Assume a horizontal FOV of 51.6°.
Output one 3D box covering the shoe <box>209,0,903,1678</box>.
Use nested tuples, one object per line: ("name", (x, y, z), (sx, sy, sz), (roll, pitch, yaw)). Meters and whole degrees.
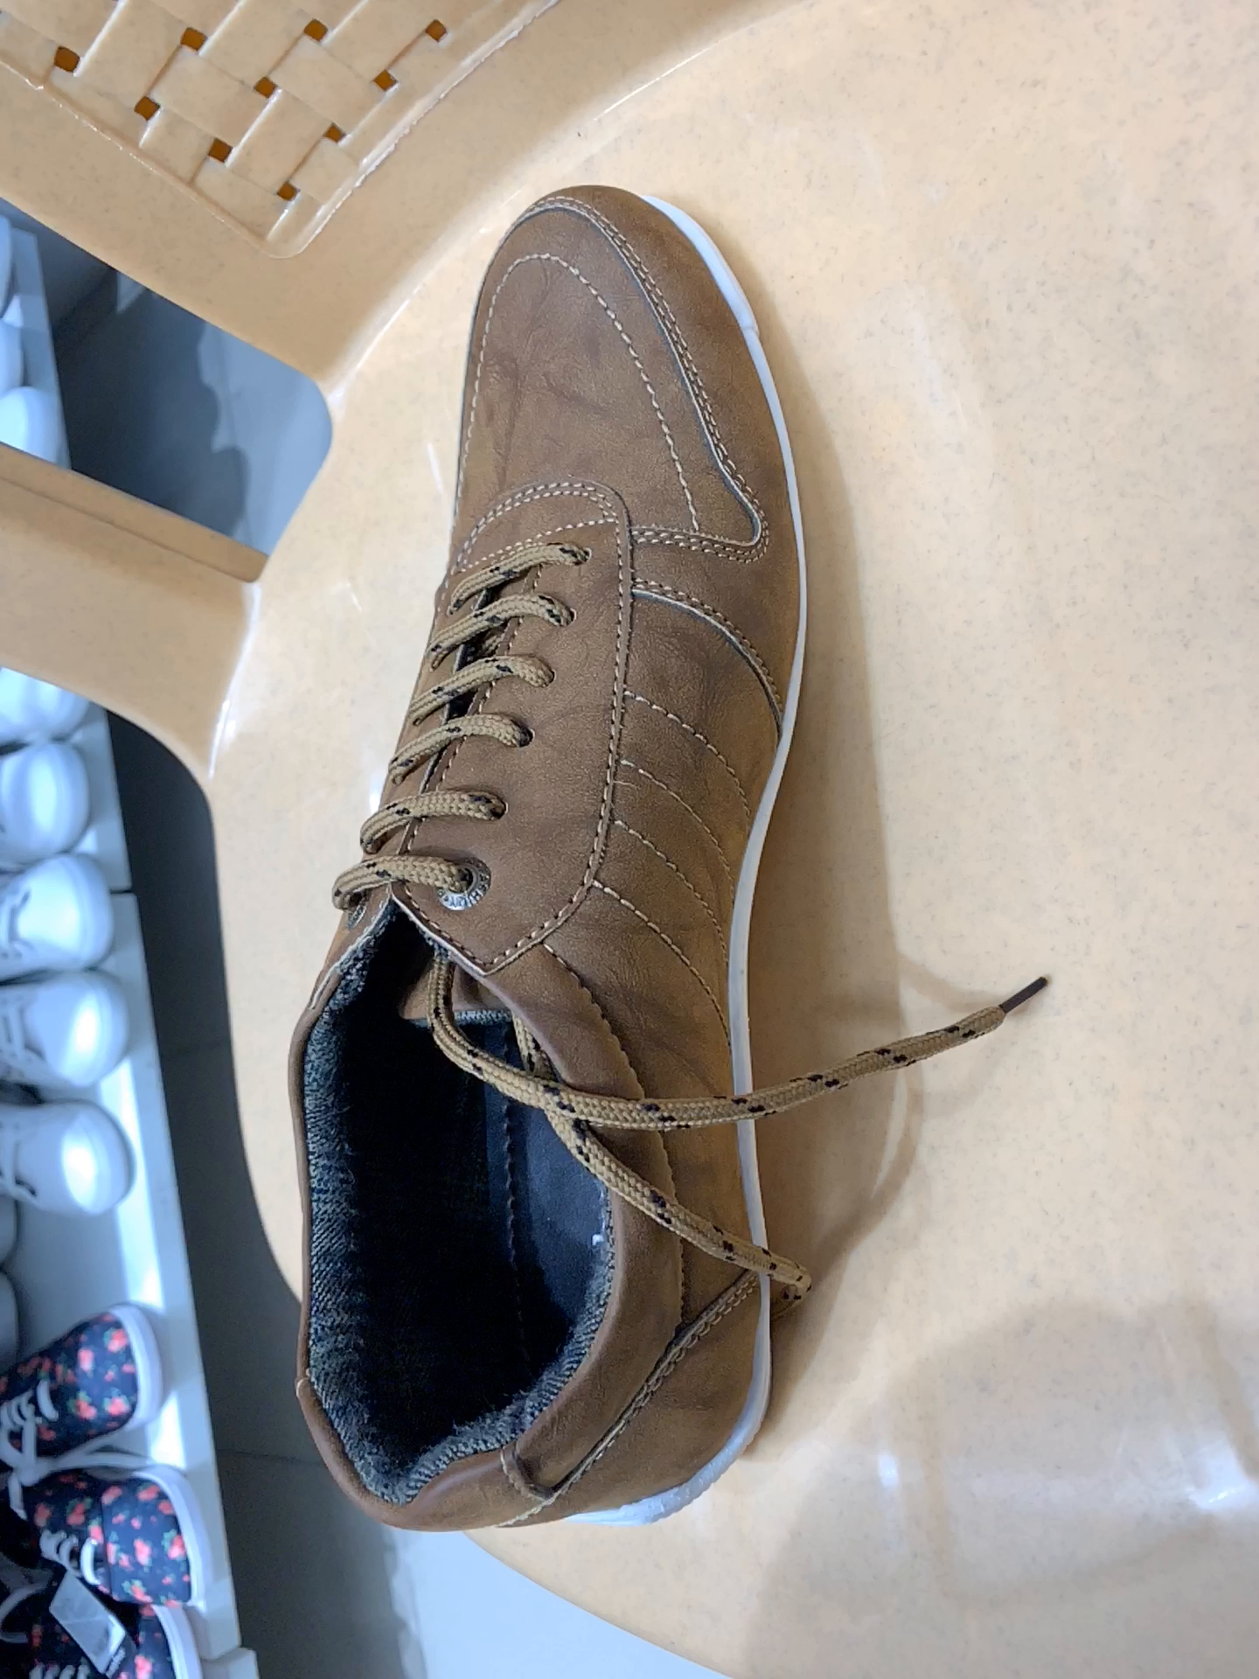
("shoe", (-0.008, -0.006, 0.298), (0.101, 0.100, 0.310), (-8, 74, 42))
